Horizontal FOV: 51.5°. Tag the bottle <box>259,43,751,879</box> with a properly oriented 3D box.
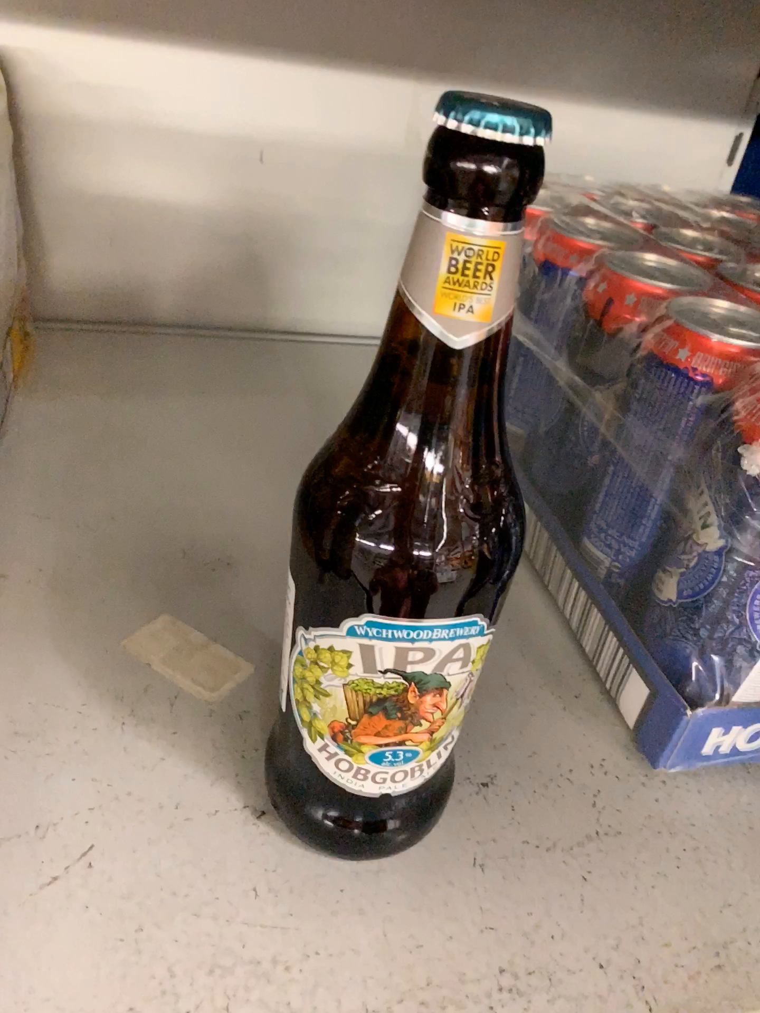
[{"bbox_3d":[0.011,0.006,0.248,0.080,0.248,0.080,7,33,-5],"label":"bottle"}]
